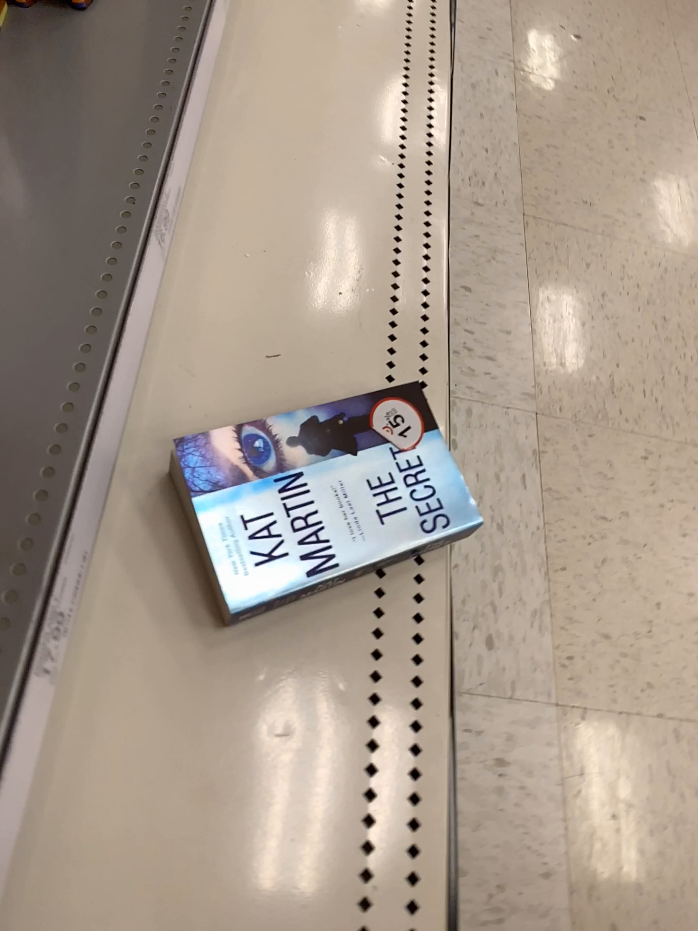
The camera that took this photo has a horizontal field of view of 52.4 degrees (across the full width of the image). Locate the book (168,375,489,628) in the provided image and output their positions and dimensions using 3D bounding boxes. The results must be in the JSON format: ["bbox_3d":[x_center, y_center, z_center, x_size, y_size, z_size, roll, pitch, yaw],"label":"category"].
[{"bbox_3d":[-0.012,0.017,0.434,0.164,0.040,0.105,-17,73,-24],"label":"book"}]
